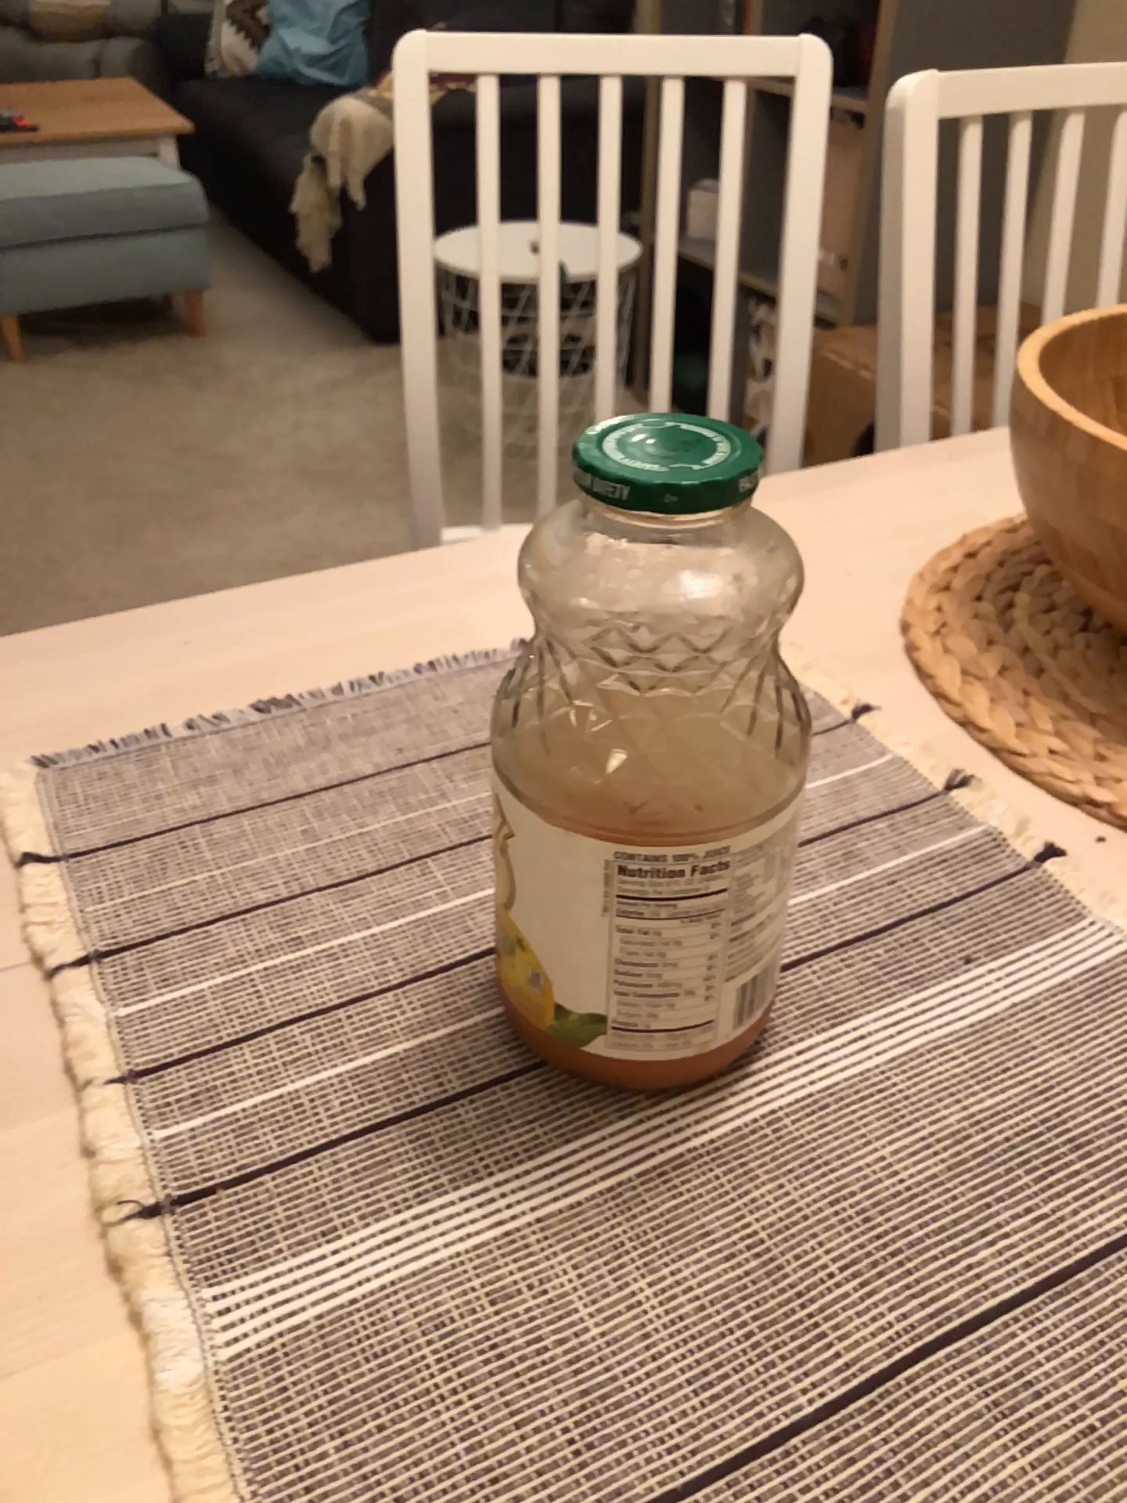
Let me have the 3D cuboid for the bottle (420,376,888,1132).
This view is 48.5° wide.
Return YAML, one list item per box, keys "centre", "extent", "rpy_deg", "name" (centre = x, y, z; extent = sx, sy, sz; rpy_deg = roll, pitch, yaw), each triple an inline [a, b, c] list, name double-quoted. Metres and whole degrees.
- centre: [0.027, 0.002, 0.378]
  extent: [0.100, 0.189, 0.101]
  rpy_deg: [1, 35, -1]
  name: "bottle"
